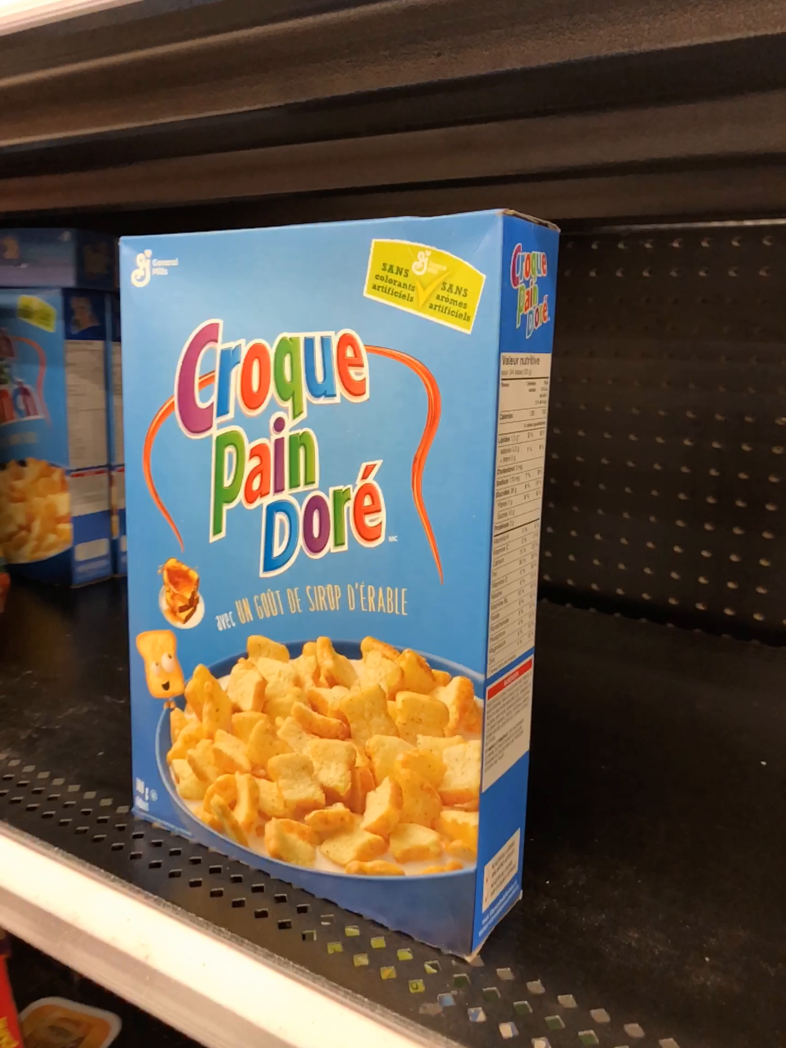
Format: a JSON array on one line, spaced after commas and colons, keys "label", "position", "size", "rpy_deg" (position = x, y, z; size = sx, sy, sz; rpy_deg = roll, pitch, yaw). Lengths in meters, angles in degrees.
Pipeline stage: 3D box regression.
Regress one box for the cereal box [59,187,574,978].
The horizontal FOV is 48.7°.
[{"label": "cereal box", "position": [-0.043, 0.013, 0.361], "size": [0.210, 0.269, 0.050], "rpy_deg": [8, 12, 30]}]
